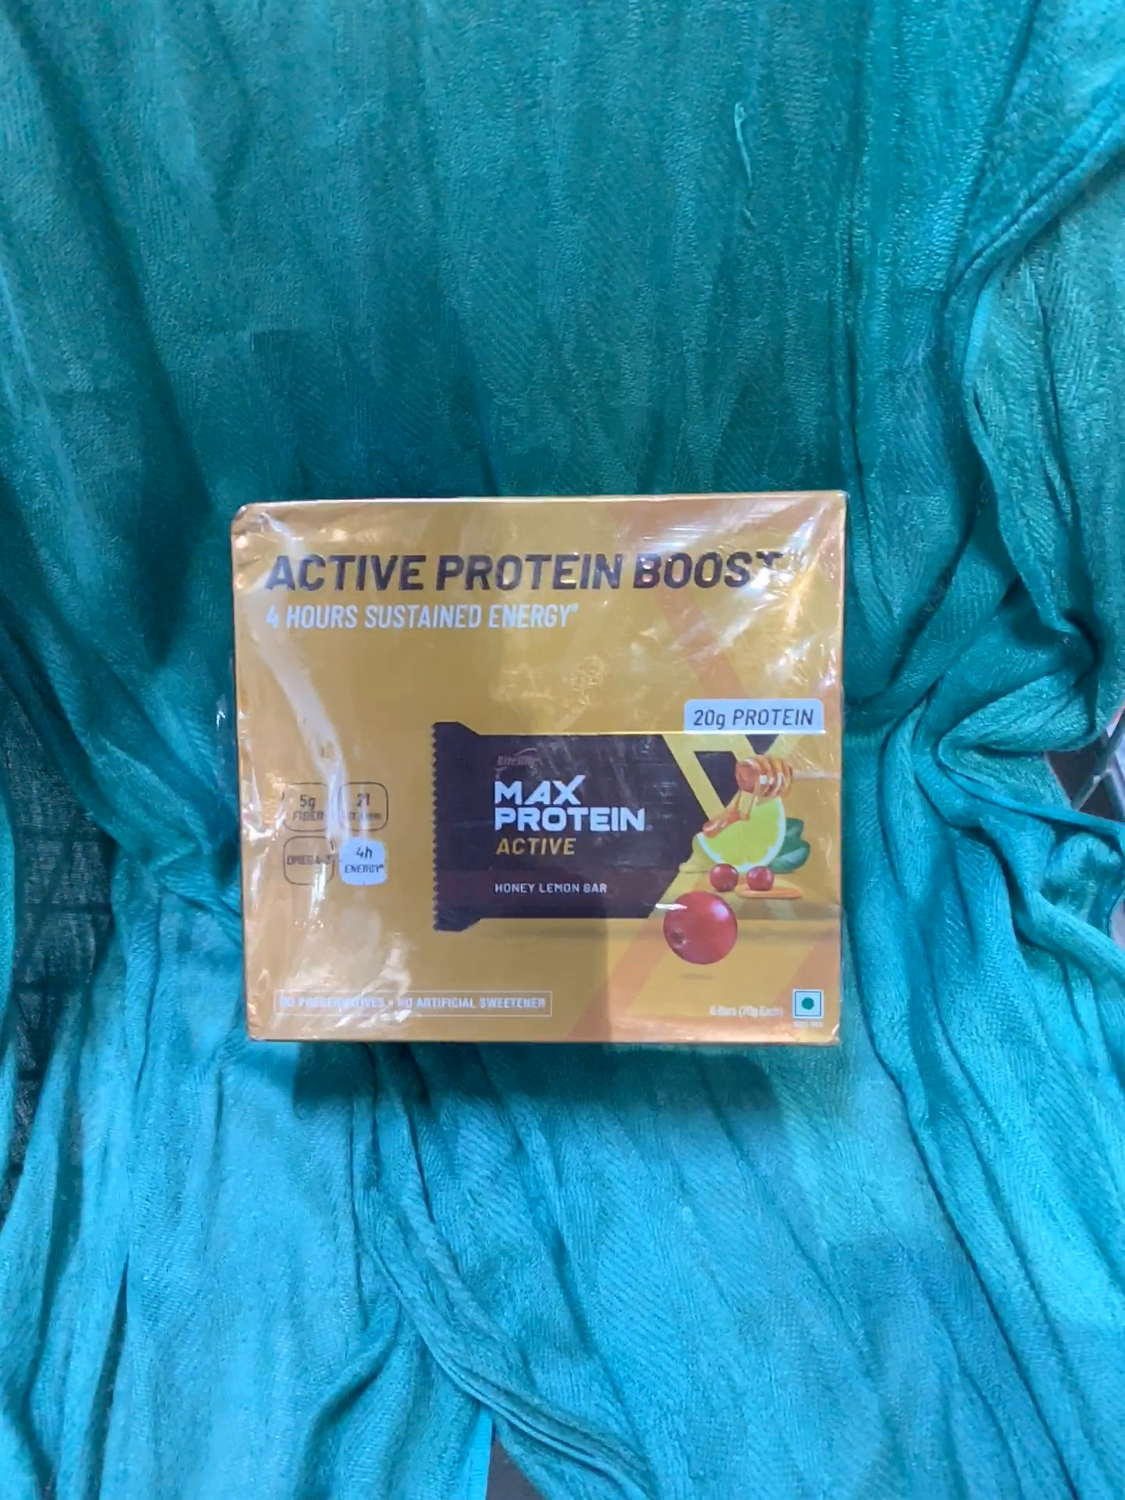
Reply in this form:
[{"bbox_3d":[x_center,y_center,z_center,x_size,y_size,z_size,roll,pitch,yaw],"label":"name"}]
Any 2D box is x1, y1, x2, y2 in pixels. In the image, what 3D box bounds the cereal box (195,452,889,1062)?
[{"bbox_3d":[-0.004,0.002,0.312,0.160,0.080,0.140,-1,91,3],"label":"cereal box"}]
